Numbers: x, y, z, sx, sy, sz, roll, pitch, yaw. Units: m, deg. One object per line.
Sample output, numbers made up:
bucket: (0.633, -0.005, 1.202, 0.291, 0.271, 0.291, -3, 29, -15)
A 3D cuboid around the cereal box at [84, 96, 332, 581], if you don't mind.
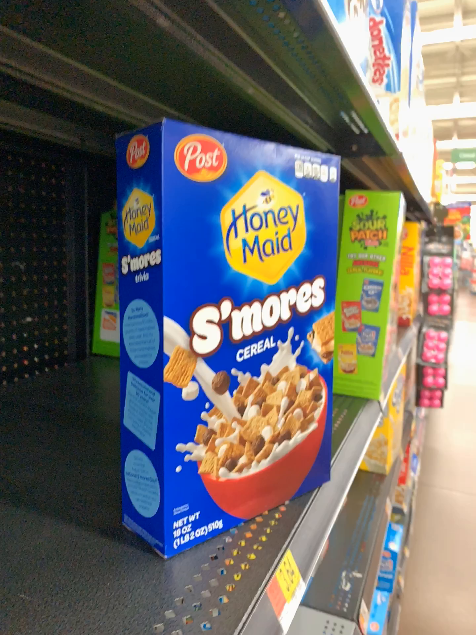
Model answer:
cereal box: (-0.016, 0.011, 0.415, 0.200, 0.320, 0.070, -5, 9, -42)
